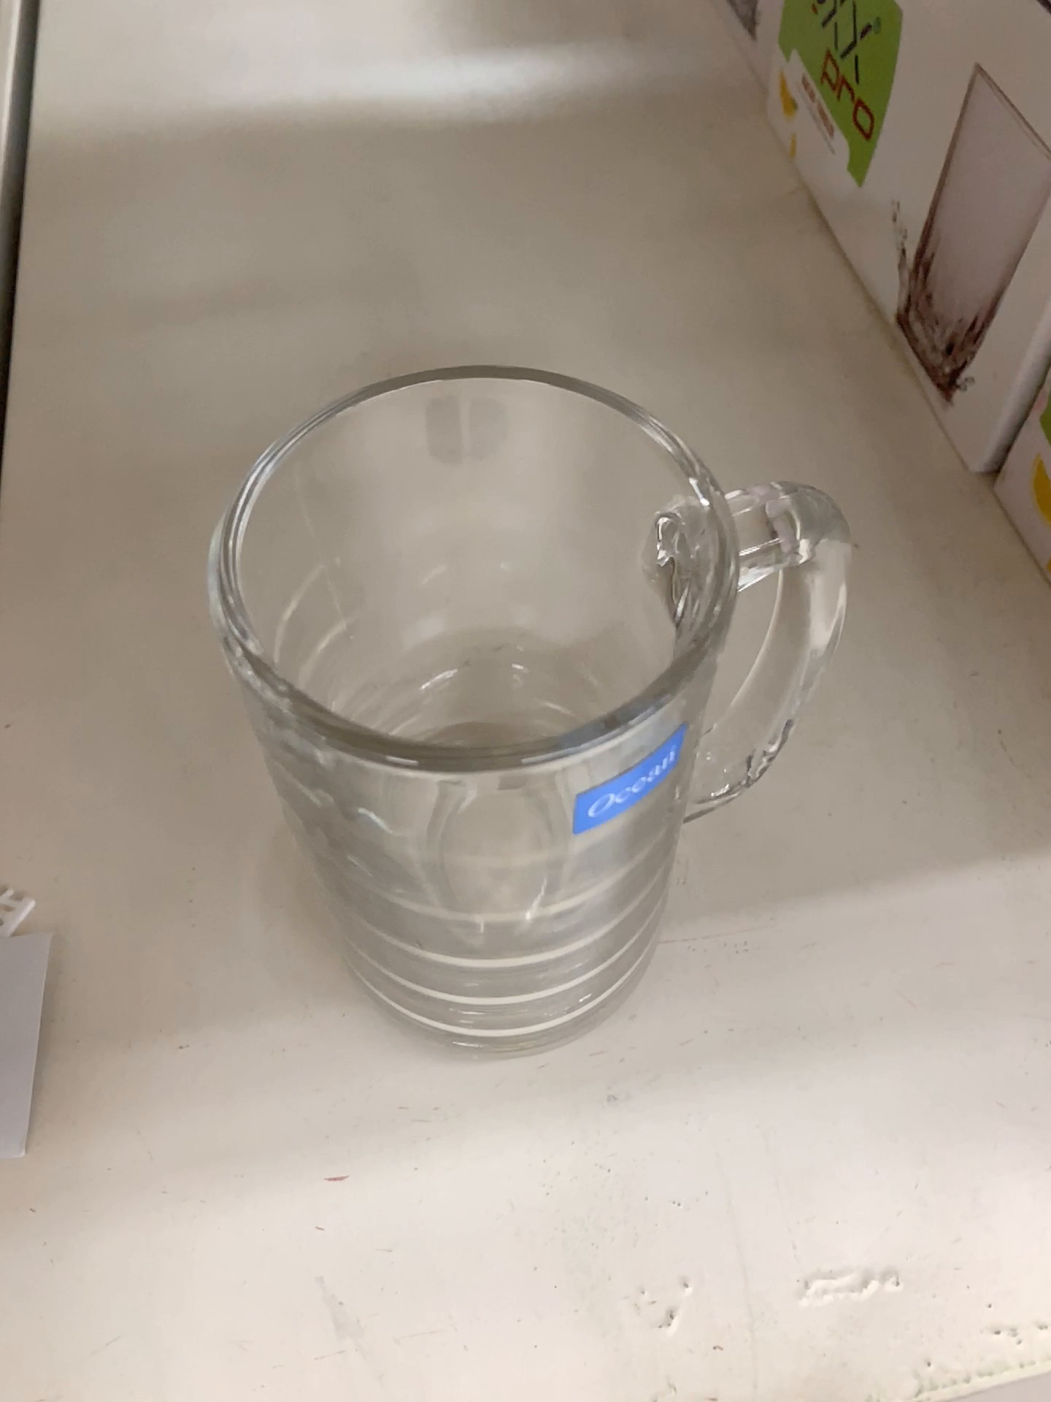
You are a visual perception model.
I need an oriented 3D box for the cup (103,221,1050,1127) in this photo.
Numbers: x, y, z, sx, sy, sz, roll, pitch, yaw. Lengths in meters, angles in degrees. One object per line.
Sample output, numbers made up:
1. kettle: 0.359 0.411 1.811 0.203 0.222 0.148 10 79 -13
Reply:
1. cup: 0.007 0.004 0.208 0.111 0.128 0.076 -26 61 -14
